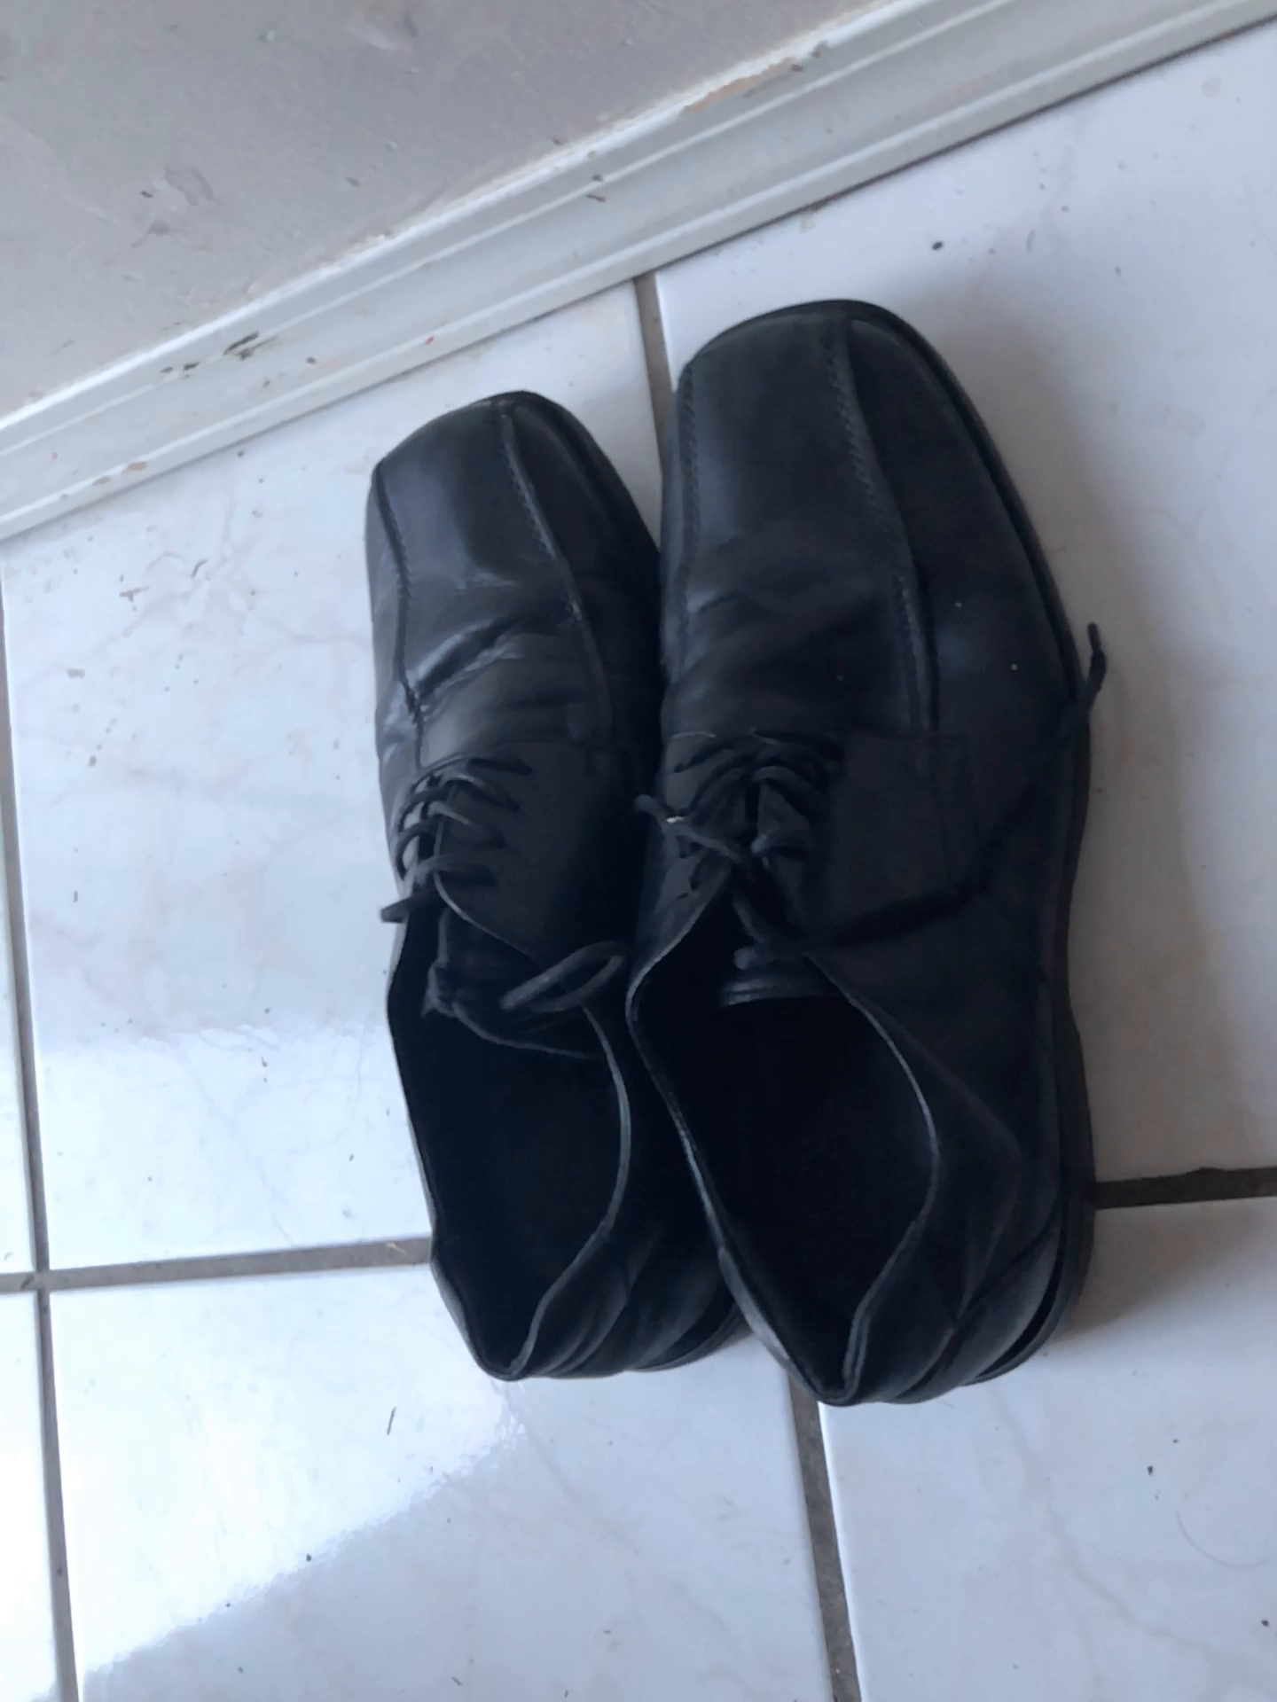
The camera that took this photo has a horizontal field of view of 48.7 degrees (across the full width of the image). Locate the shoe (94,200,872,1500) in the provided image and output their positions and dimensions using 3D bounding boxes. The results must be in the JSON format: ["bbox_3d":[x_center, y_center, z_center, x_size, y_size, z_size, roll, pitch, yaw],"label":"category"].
[{"bbox_3d":[-0.044,0.002,0.382,0.120,0.100,0.290,-18,78,25],"label":"shoe"}]

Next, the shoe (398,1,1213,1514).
[{"bbox_3d":[0.038,-0.015,0.330,0.110,0.100,0.290,-14,80,26],"label":"shoe"}]
